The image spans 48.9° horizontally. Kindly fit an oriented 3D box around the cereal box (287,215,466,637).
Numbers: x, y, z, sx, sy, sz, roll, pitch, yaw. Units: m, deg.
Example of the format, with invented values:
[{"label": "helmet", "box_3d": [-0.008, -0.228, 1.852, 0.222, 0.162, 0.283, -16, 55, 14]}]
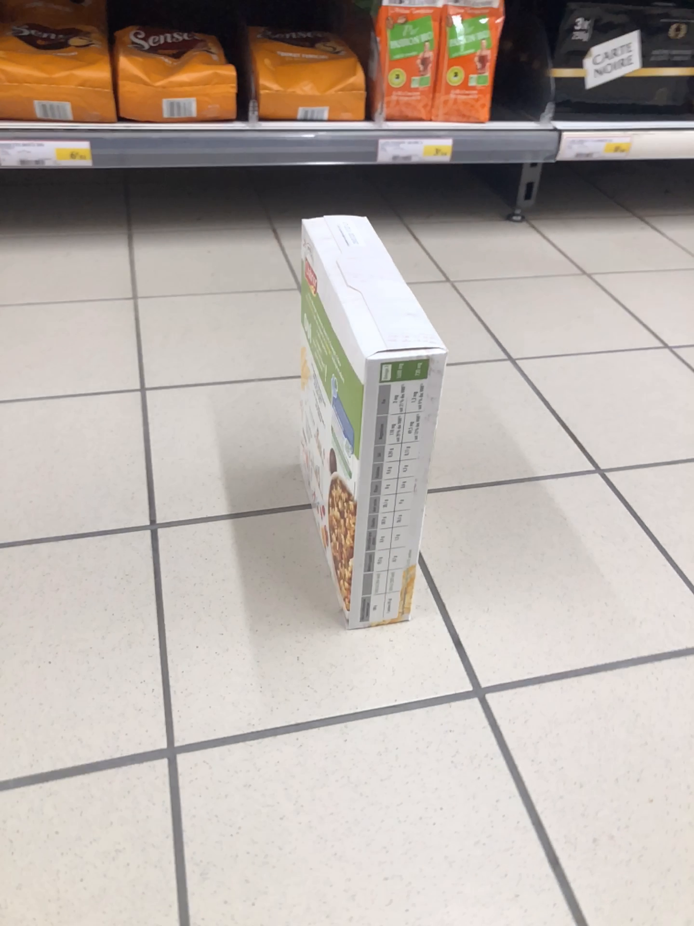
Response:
[{"label": "cereal box", "box_3d": [0.005, -0.029, 0.546, 0.060, 0.229, 0.191, -5, 39, -13]}]
